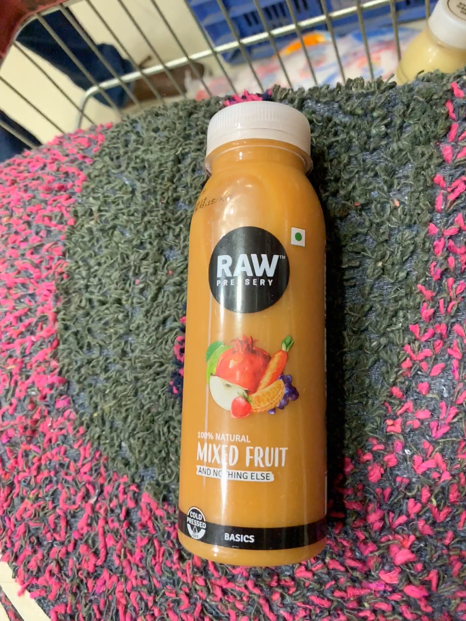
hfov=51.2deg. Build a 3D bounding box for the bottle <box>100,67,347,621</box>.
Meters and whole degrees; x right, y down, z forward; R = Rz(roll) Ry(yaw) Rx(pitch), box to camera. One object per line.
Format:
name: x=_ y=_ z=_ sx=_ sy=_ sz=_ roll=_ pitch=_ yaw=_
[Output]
bottle: x=0.002 y=0.006 z=0.163 sx=0.060 sy=0.060 sz=0.150 roll=2 pitch=81 yaw=6
